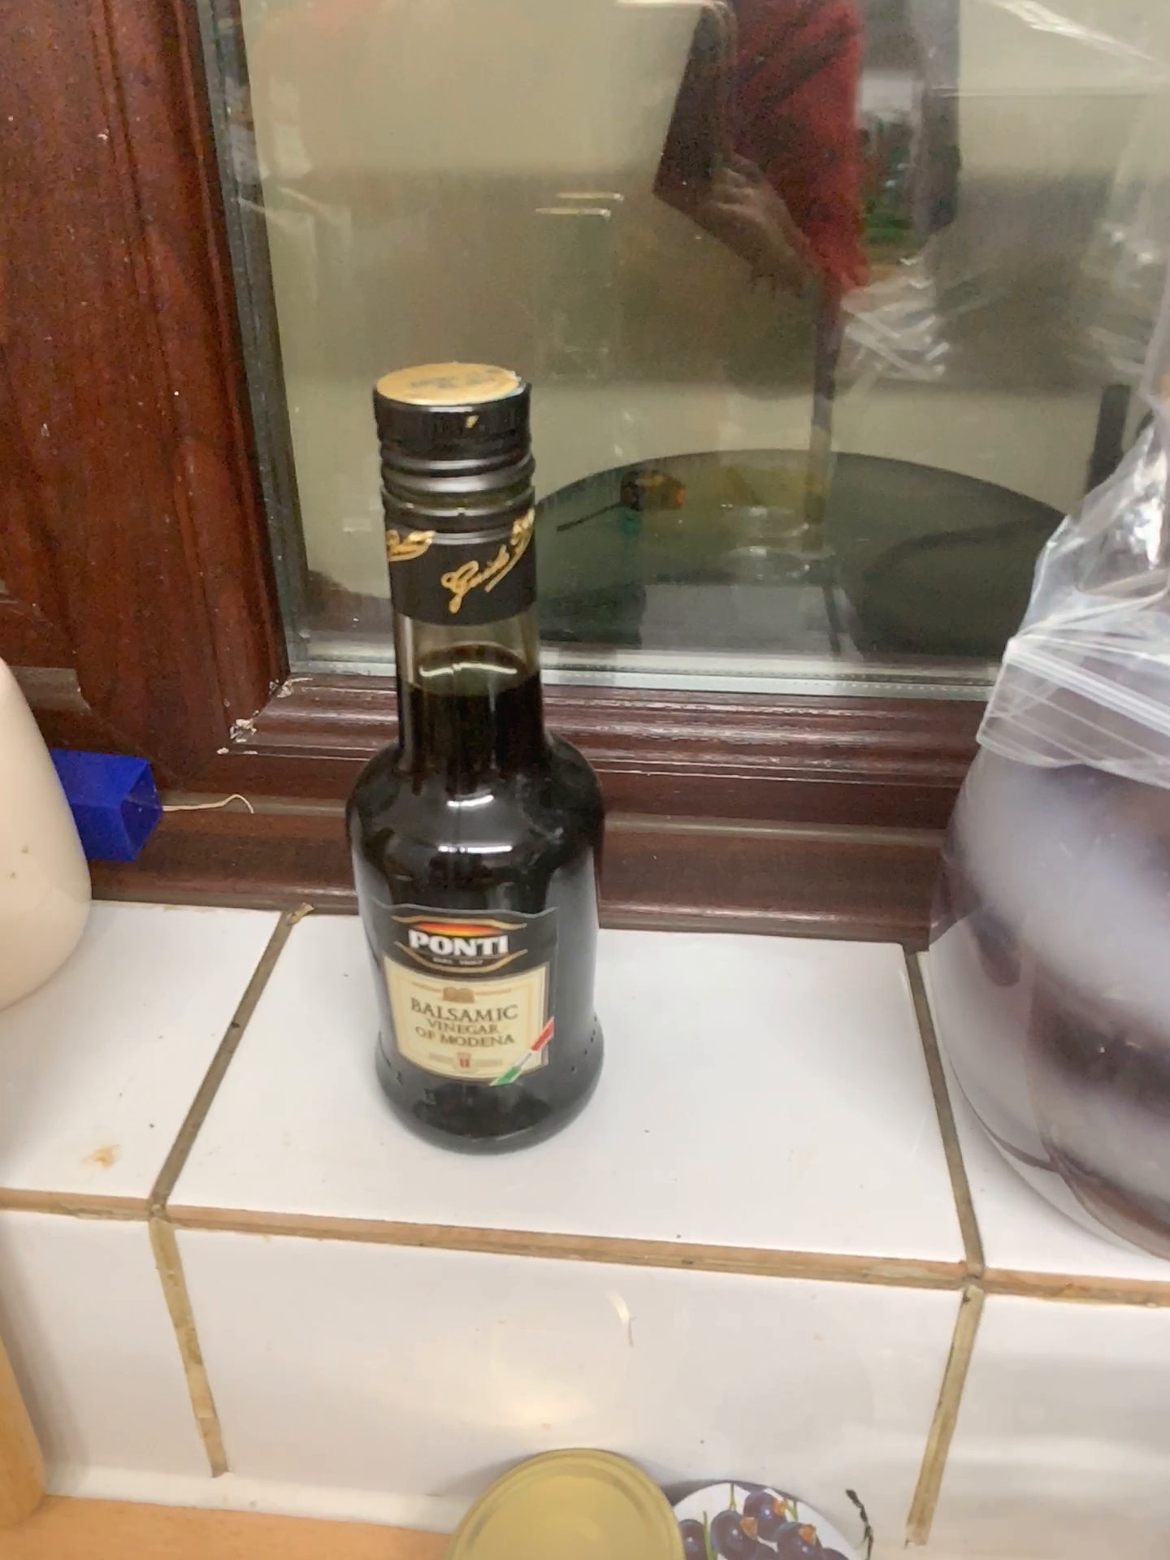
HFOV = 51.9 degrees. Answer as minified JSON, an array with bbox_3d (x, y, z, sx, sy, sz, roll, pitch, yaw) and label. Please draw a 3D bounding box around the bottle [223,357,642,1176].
[{"bbox_3d":[-0.026,0.001,0.284,0.070,0.178,0.071,0,31,0],"label":"bottle"}]
